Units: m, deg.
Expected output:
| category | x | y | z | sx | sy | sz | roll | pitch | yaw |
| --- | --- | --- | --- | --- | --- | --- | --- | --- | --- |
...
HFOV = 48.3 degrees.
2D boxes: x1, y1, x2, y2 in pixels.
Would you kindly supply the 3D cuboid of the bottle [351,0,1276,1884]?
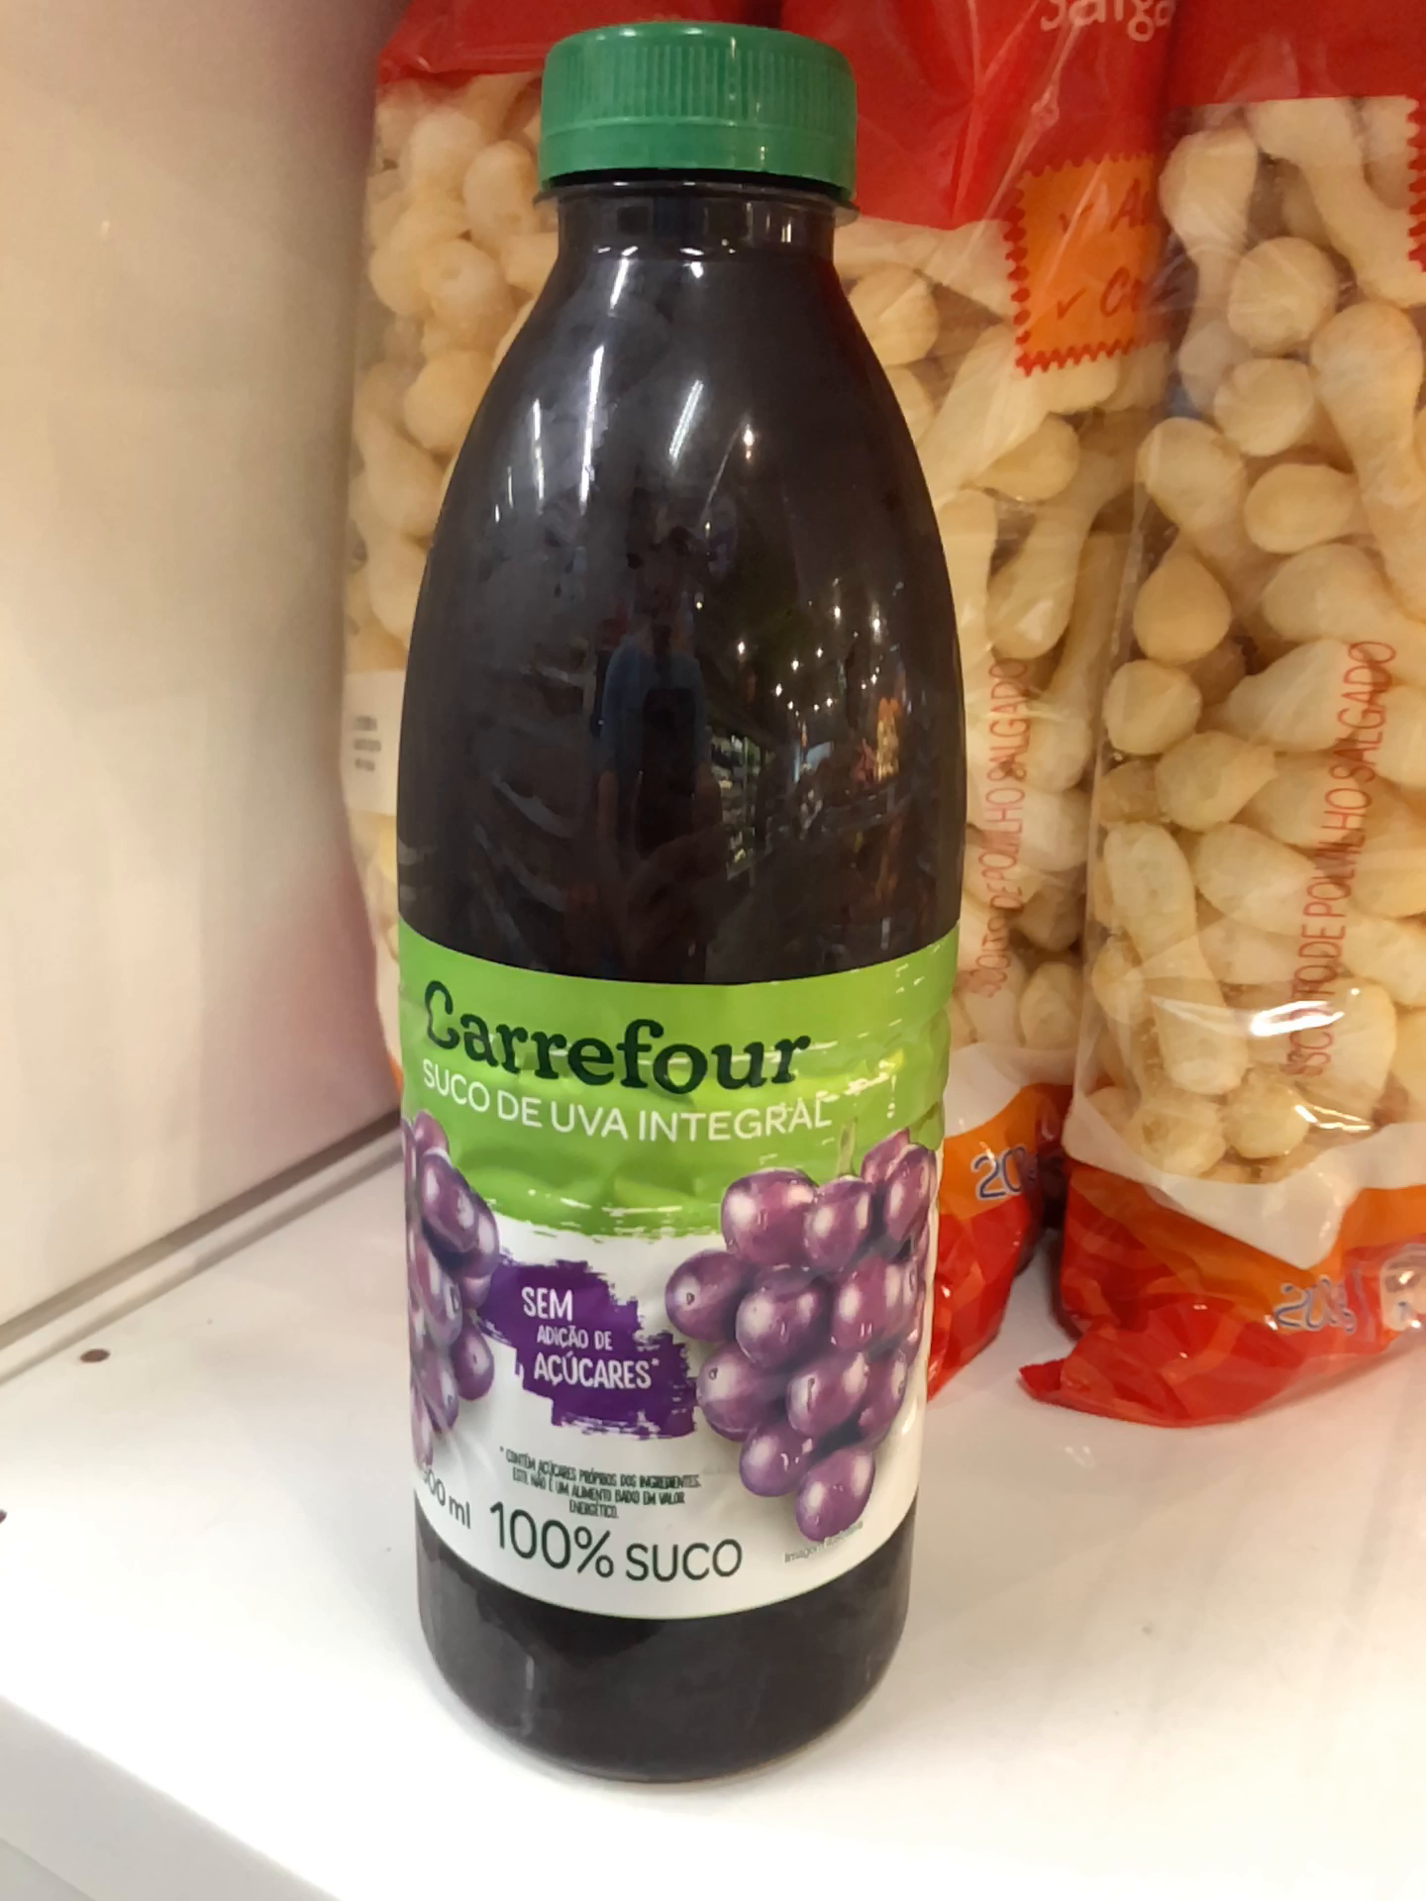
| category | x | y | z | sx | sy | sz | roll | pitch | yaw |
| --- | --- | --- | --- | --- | --- | --- | --- | --- | --- |
| bottle | 0.009 | 0.000 | 0.226 | 0.090 | 0.229 | 0.080 | 7 | 18 | 10 |
